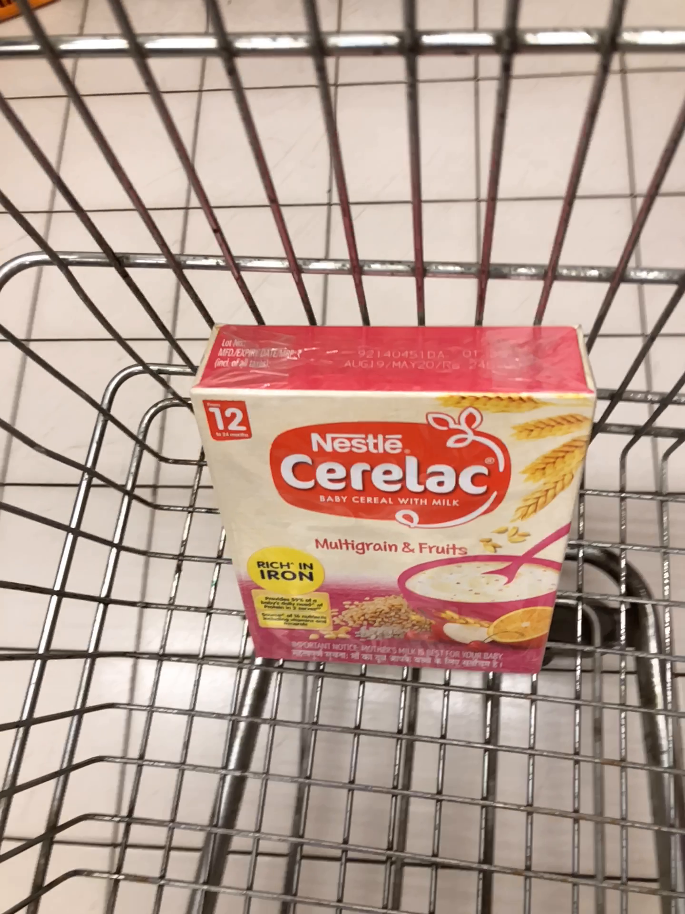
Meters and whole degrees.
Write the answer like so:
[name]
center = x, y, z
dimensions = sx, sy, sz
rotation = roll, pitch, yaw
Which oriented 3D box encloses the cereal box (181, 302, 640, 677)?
[cereal box]
center = 0.029, 0.024, 0.348
dimensions = 0.160, 0.189, 0.050
rotation = 2, 44, 7
